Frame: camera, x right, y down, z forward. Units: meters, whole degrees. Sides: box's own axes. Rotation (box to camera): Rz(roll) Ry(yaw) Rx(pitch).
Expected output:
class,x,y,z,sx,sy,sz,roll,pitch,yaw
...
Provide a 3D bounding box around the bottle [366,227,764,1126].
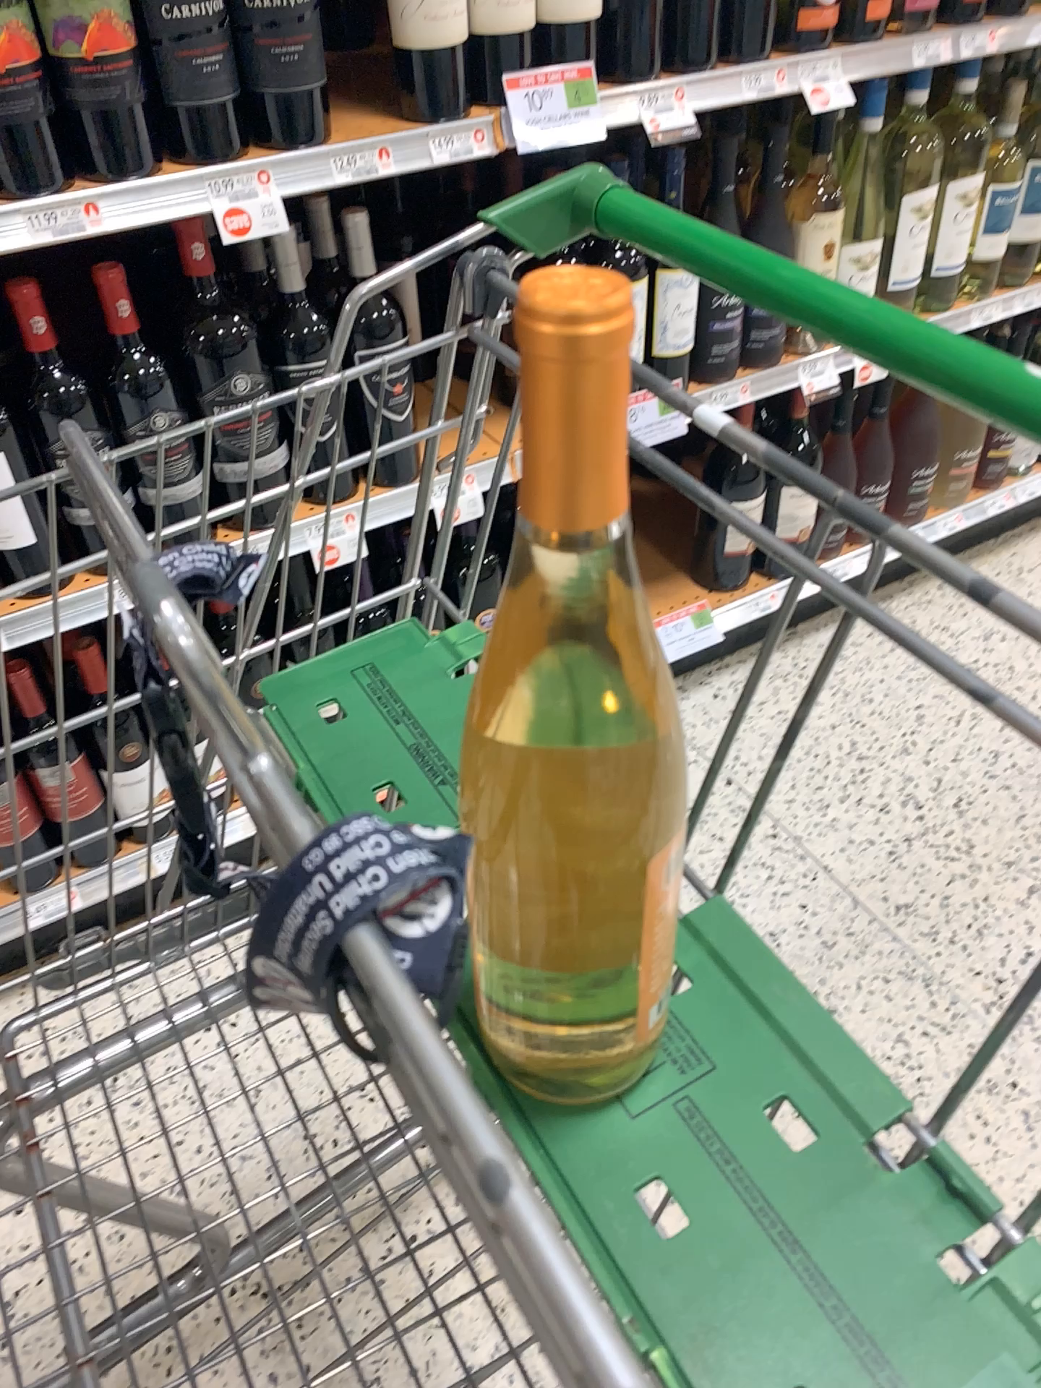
class,x,y,z,sx,sy,sz,roll,pitch,yaw
bottle,0.021,0.017,0.347,0.083,0.297,0.087,-2,39,1
